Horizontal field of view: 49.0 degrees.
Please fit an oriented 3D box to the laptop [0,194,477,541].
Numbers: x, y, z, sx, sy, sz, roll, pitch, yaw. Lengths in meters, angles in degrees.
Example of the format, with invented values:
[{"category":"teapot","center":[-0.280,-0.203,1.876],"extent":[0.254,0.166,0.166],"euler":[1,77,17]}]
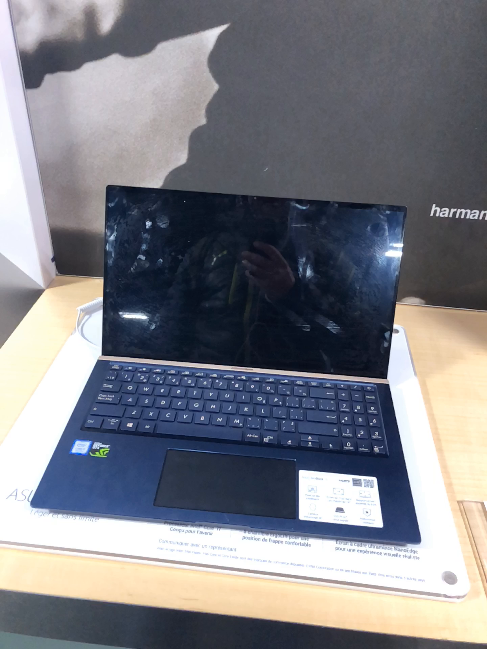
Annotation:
[{"category":"laptop","center":[-0.001,0.016,0.527],"extent":[0.330,0.173,0.294],"euler":[4,34,4]}]
